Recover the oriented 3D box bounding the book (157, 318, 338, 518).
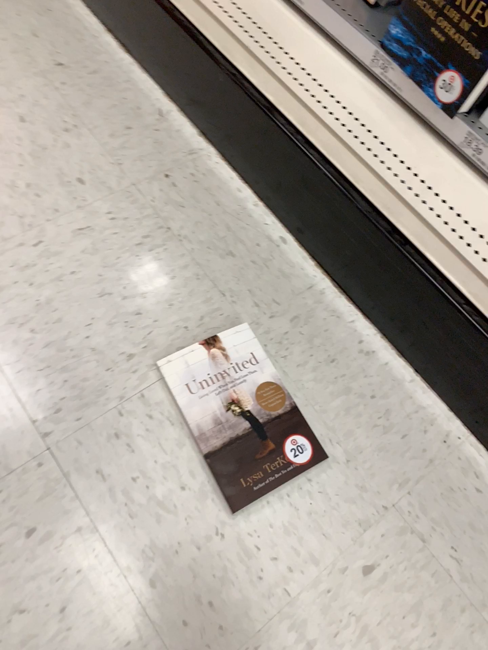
[{"bbox_3d":[0.000,0.109,0.631,0.140,0.030,0.210,-24,69,-20],"label":"book"}]
